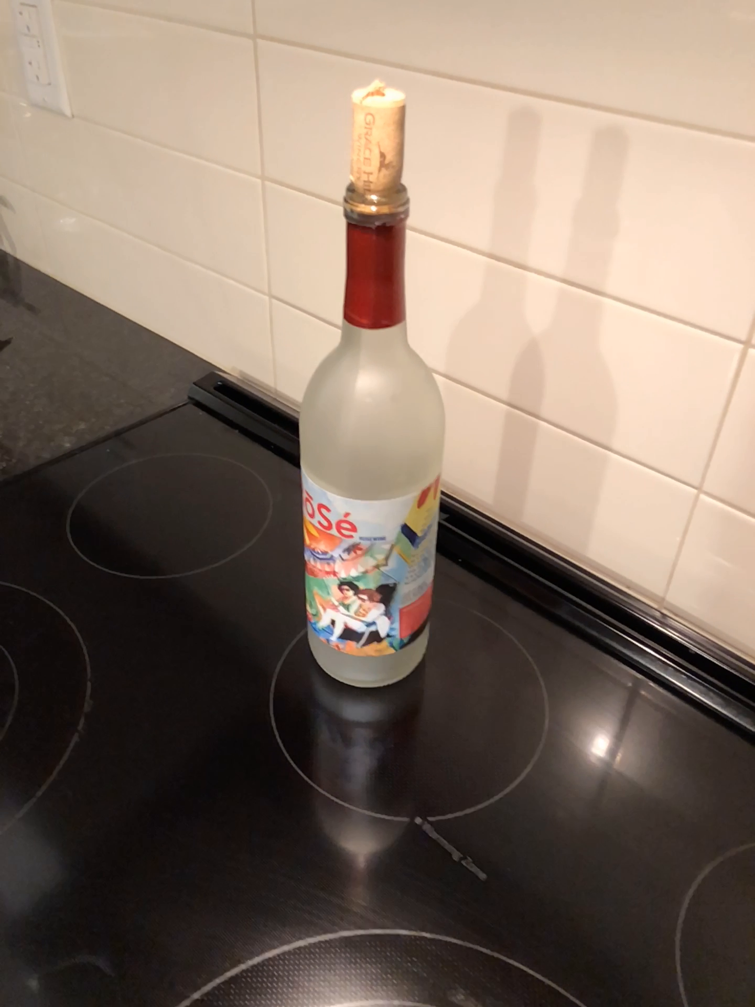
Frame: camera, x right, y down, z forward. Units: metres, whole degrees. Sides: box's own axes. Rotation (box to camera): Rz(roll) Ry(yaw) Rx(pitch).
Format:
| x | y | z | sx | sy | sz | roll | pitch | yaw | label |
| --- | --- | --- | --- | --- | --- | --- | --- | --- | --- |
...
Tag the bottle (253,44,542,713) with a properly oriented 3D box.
| x | y | z | sx | sy | sz | roll | pitch | yaw | label |
| --- | --- | --- | --- | --- | --- | --- | --- | --- | --- |
| 0.003 | -0.042 | 0.421 | 0.080 | 0.318 | 0.080 | 1 | 37 | -1 | bottle |
